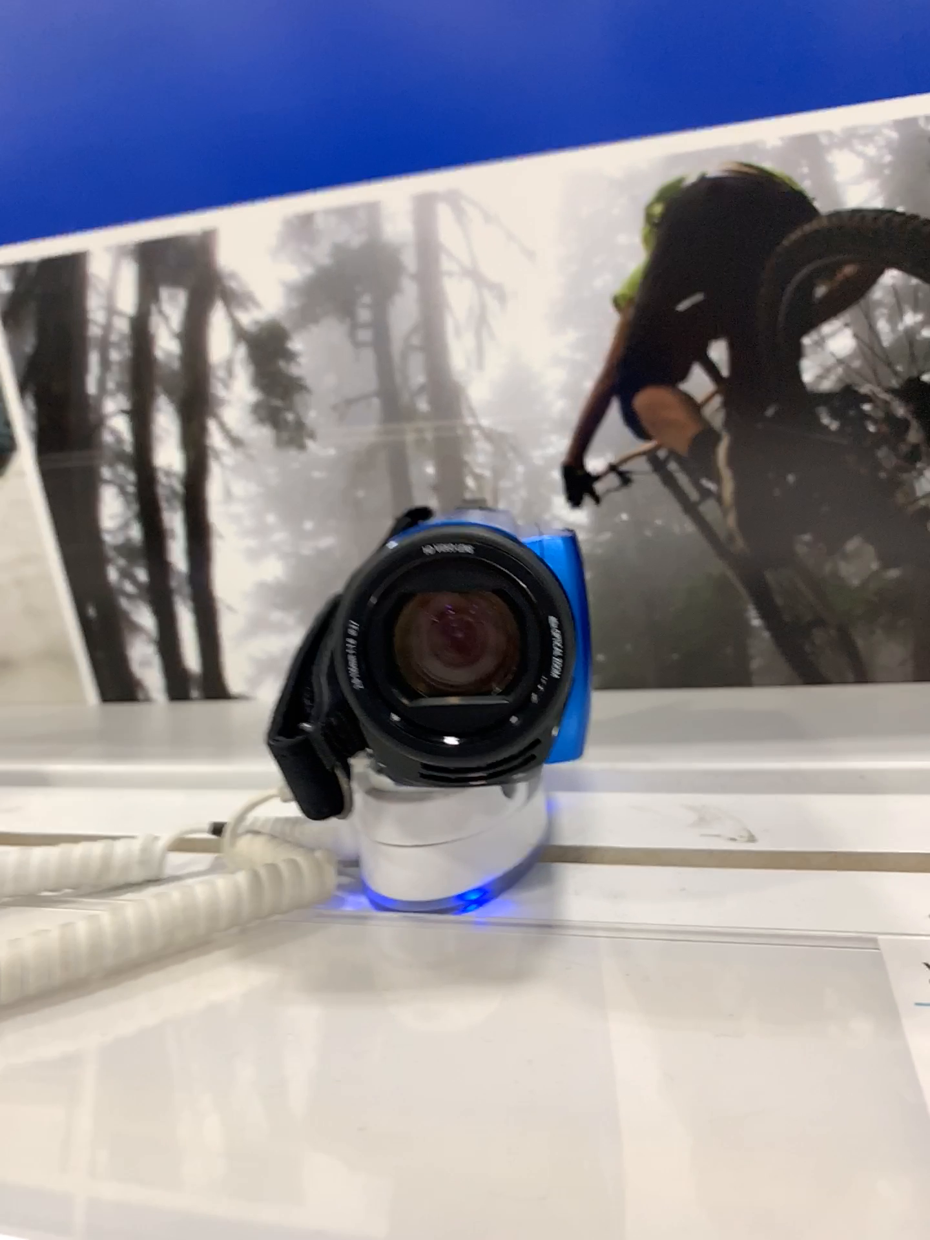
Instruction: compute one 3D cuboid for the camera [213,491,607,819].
[{"bbox_3d":[-0.006,-0.002,0.258,0.072,0.058,0.143,-3,8,4],"label":"camera"}]
